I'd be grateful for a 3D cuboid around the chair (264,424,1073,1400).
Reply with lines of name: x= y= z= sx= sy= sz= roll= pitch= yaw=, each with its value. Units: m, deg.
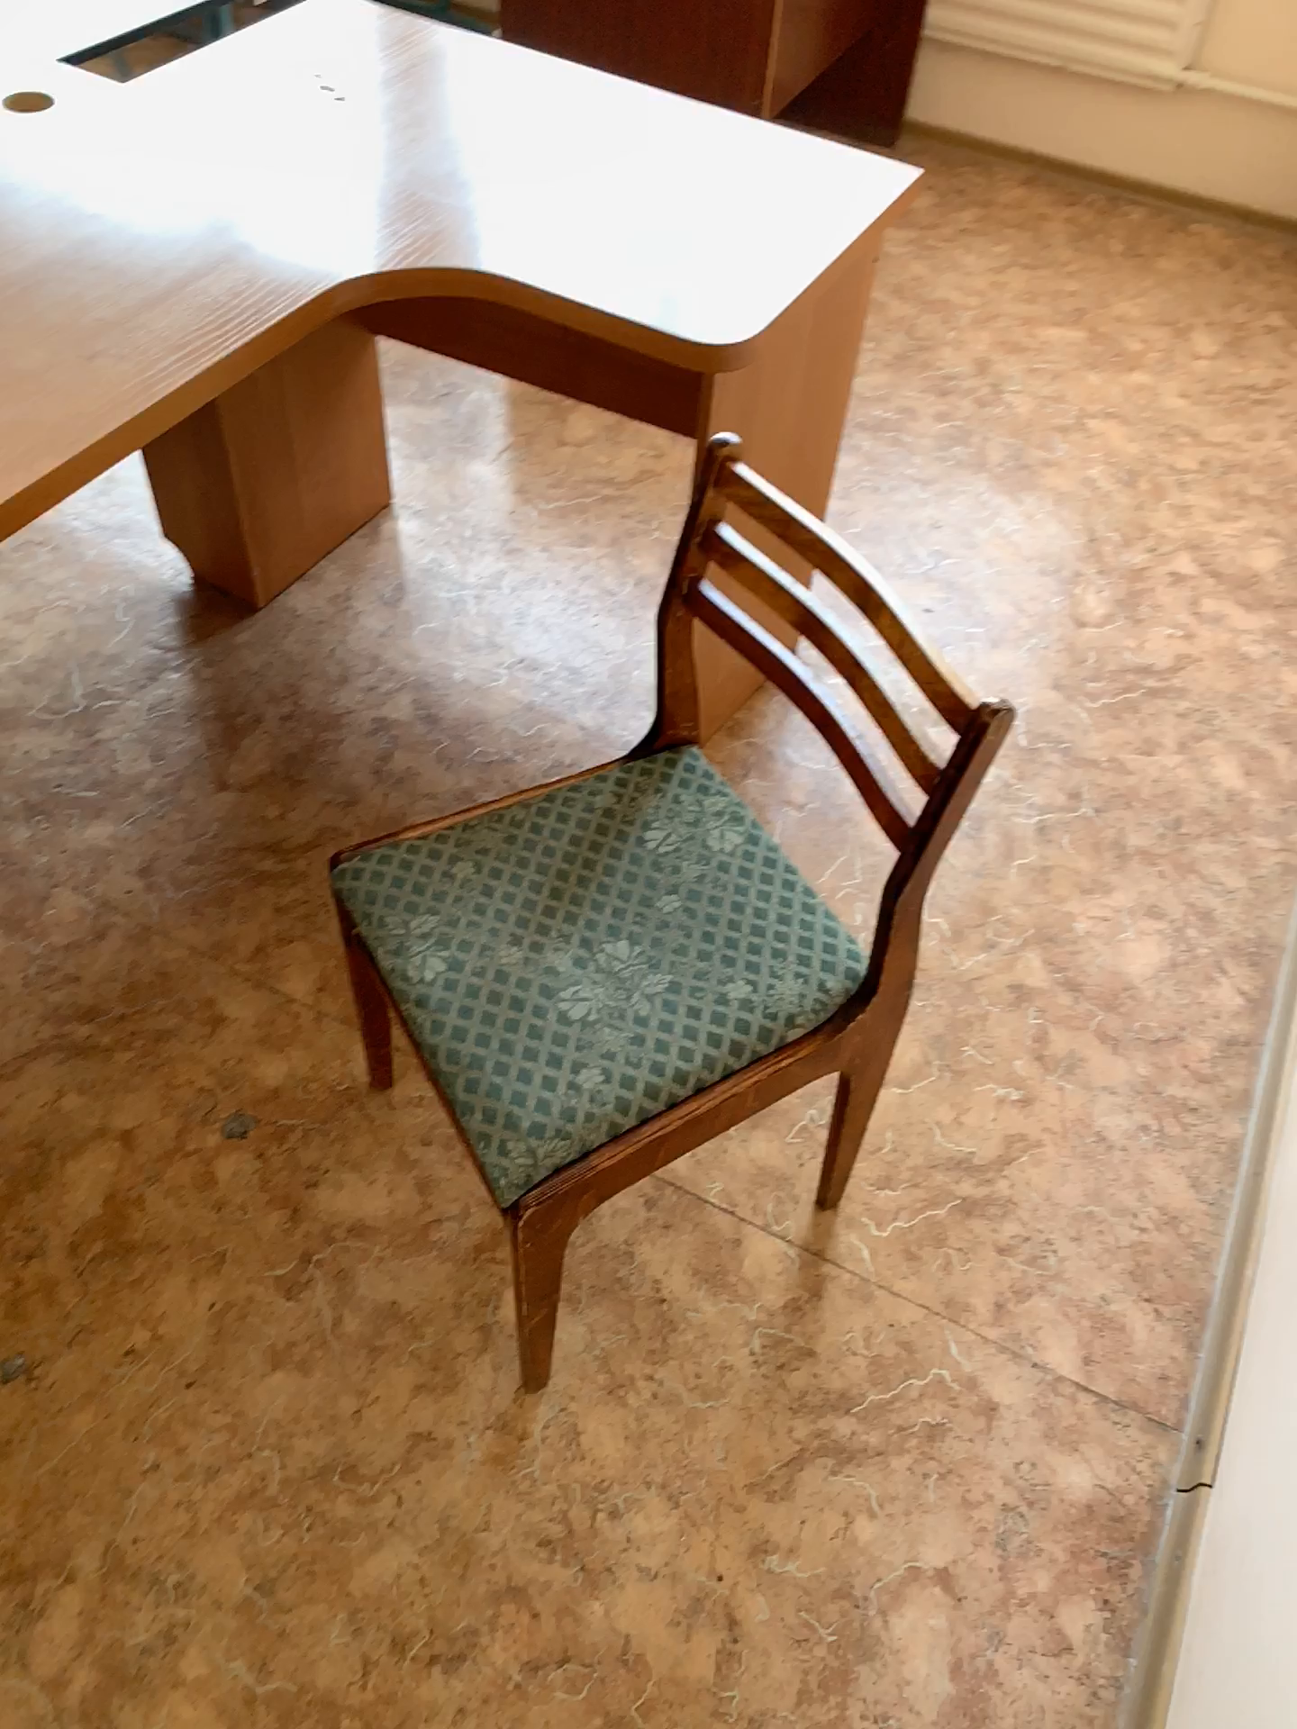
chair: x=-0.020 y=0.074 z=1.164 sx=0.402 sy=0.704 sz=0.402 roll=-23 pitch=56 yaw=-22
